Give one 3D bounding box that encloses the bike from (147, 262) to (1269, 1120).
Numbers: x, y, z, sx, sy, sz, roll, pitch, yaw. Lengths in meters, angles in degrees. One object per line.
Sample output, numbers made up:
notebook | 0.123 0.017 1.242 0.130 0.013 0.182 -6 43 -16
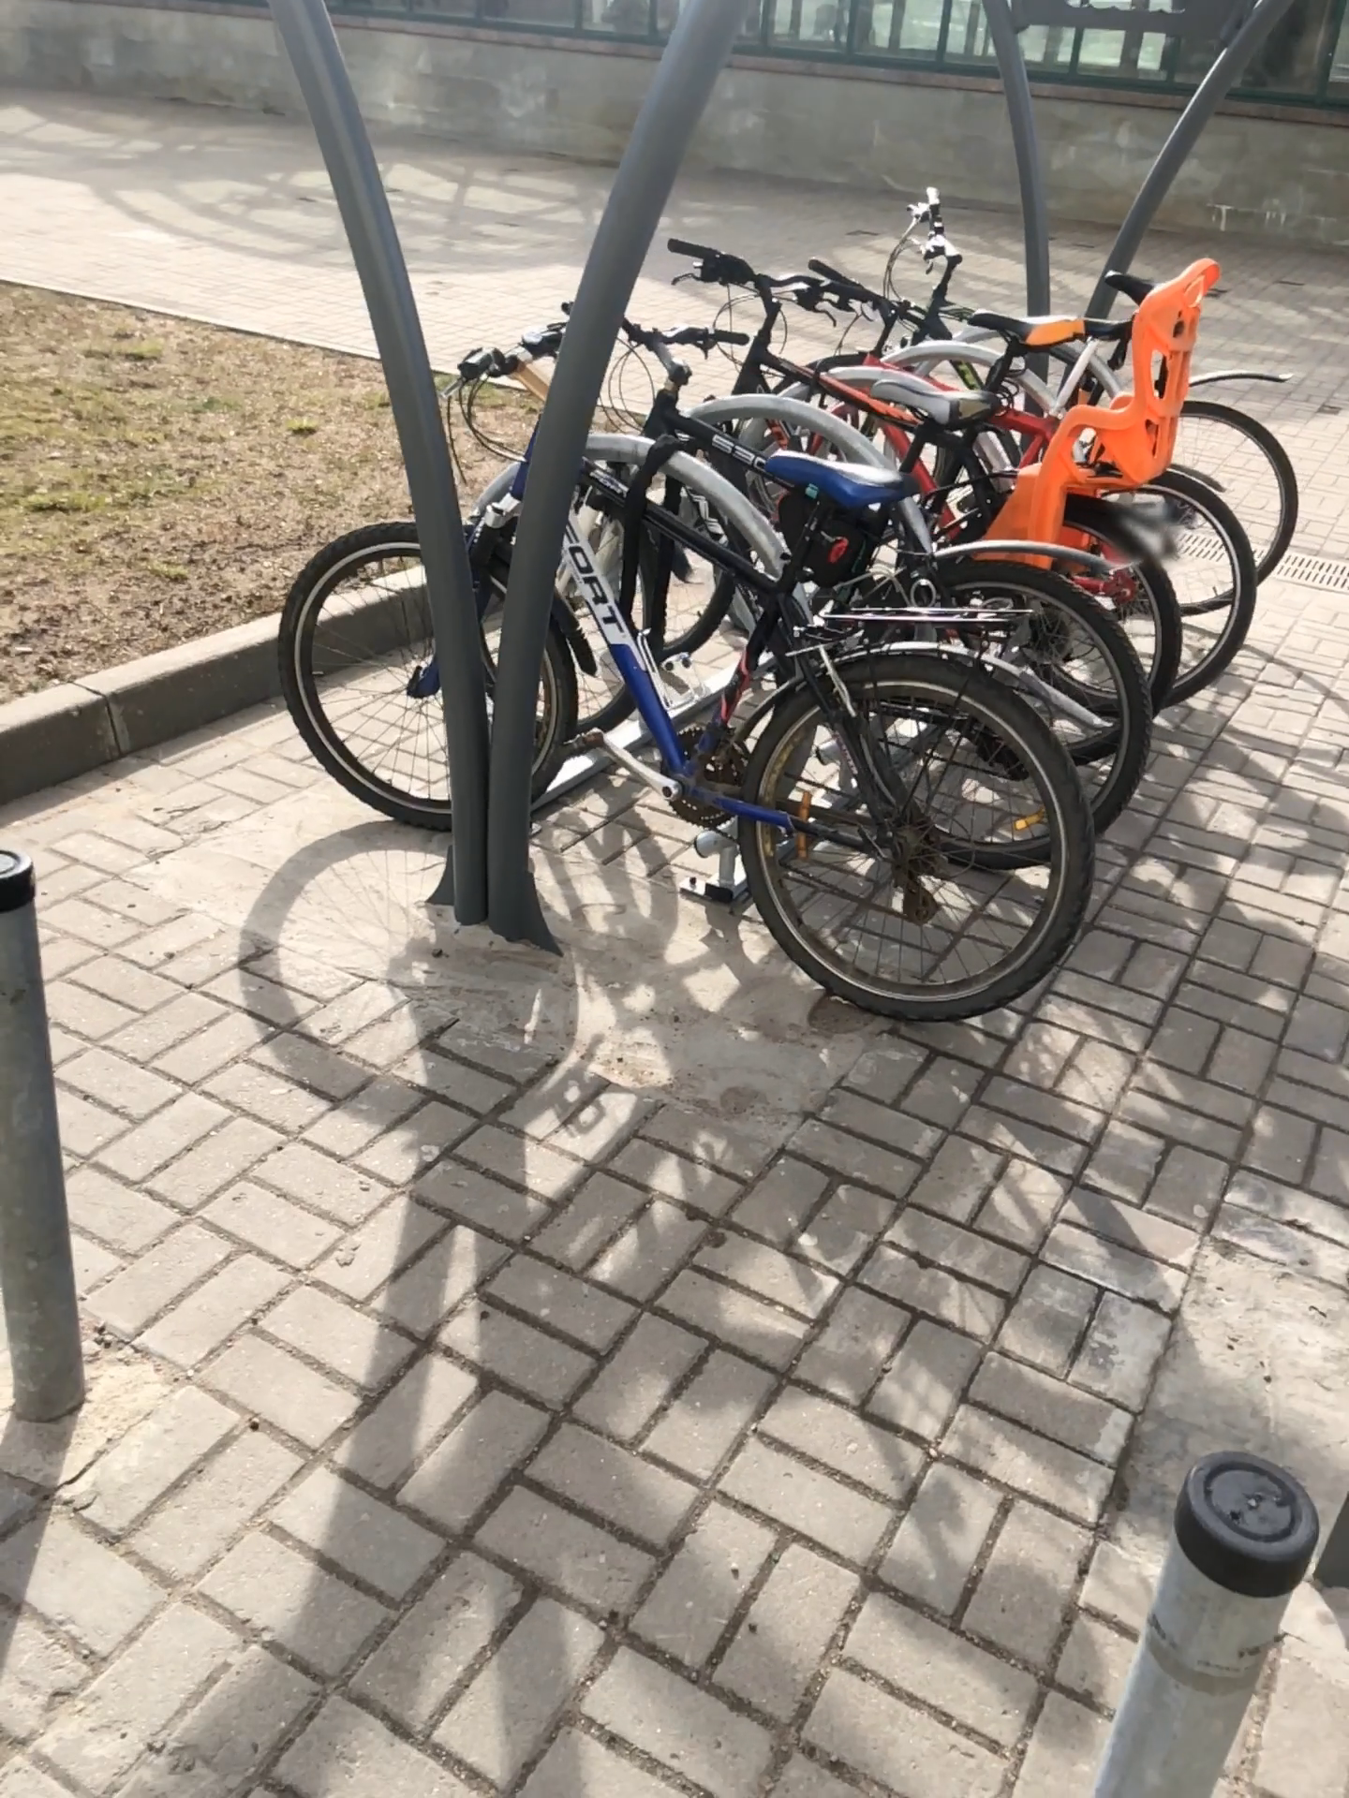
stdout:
bike | -0.008 -0.454 2.607 1.661 0.959 0.629 20 34 22
